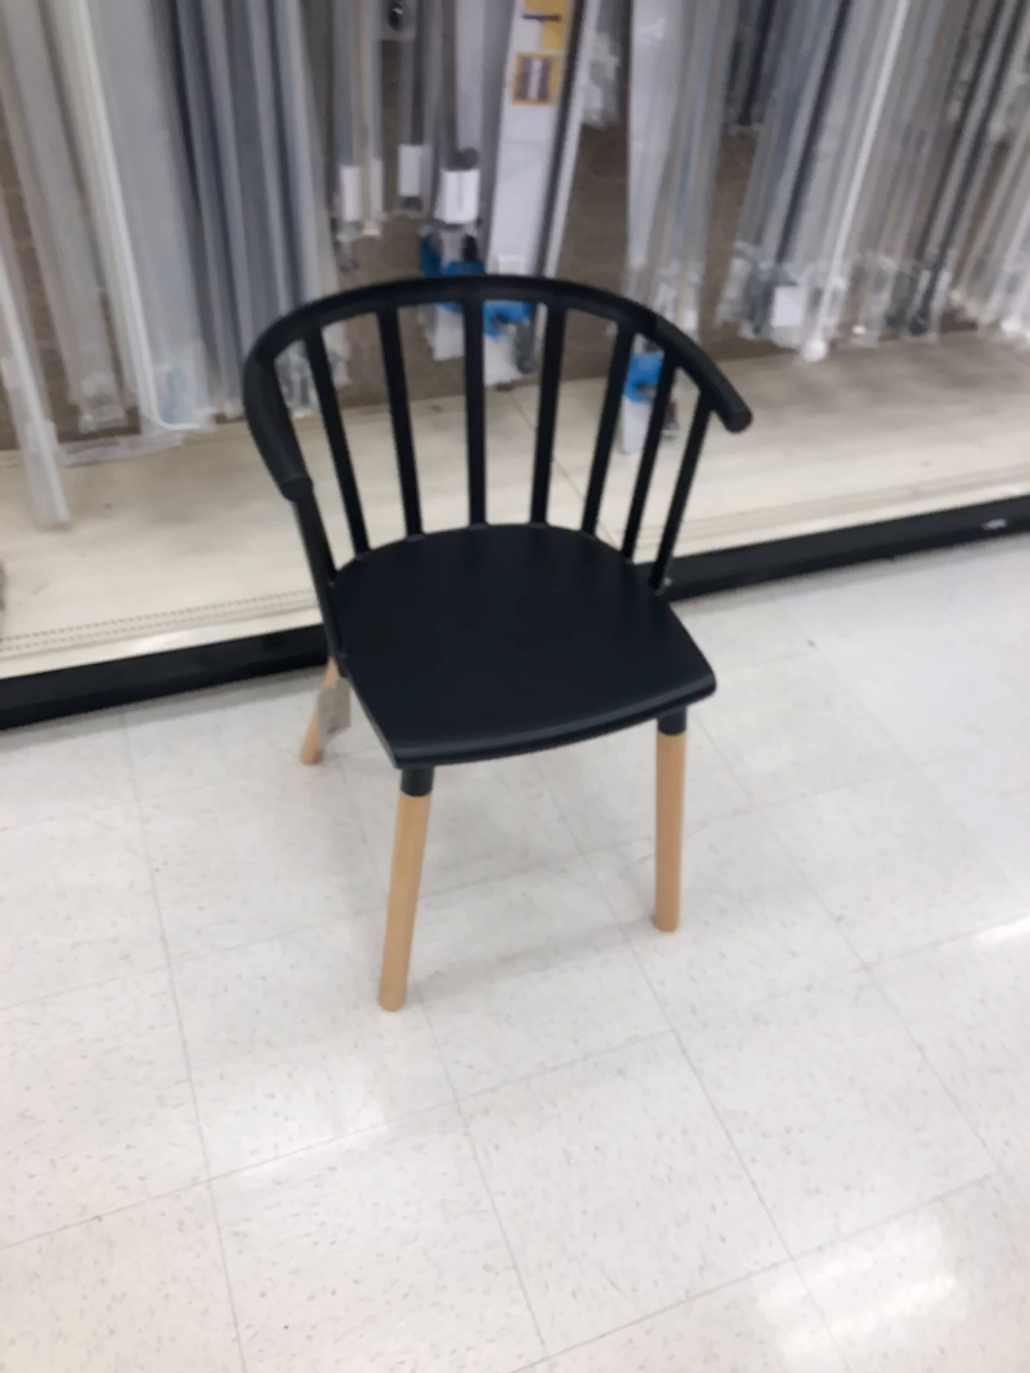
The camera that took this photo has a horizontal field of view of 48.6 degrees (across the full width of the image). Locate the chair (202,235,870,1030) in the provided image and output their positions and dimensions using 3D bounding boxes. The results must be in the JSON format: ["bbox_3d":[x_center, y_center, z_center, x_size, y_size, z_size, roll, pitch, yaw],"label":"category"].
[{"bbox_3d":[-0.036,-0.076,1.443,0.535,0.730,0.569,-11,46,-17],"label":"chair"}]
